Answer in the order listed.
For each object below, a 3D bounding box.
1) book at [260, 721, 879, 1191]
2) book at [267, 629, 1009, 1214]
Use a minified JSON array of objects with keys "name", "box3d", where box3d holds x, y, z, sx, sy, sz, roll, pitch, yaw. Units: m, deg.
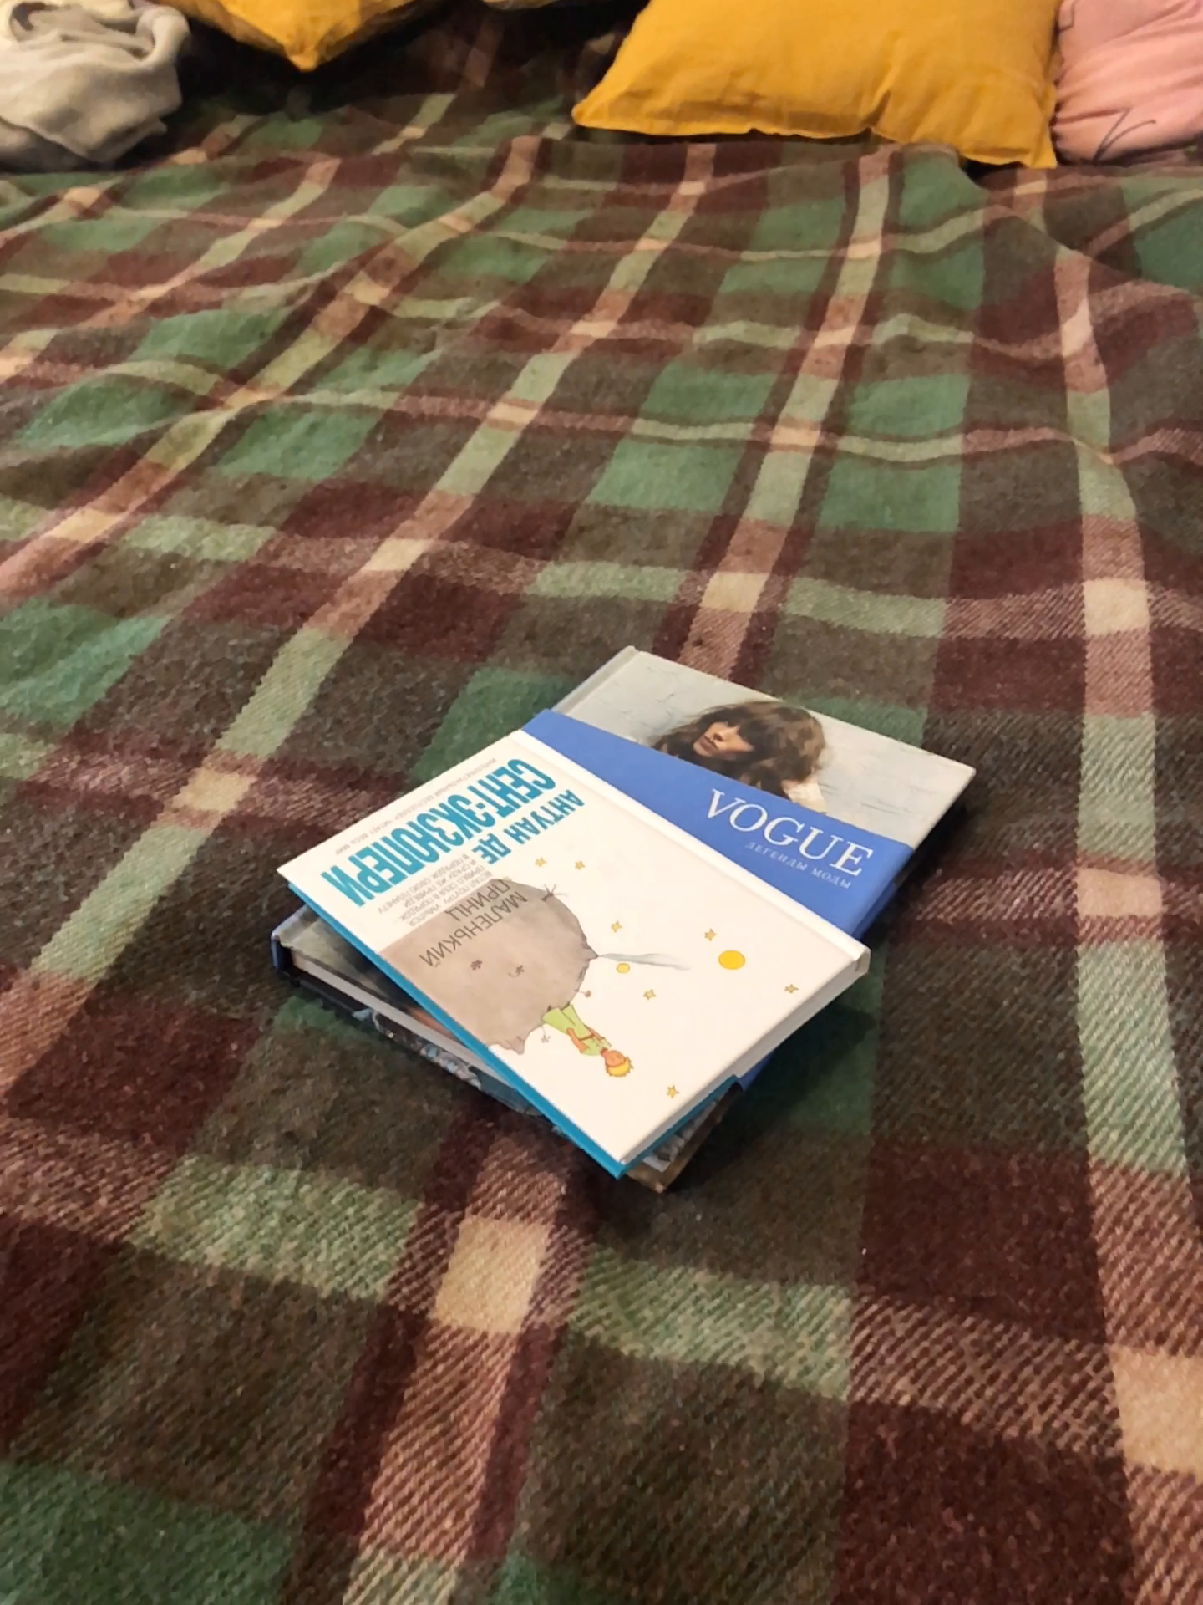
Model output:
[{"name":"book","box3d":[-0.014,0.037,0.442,0.120,0.014,0.170,-31,48,-33]},{"name":"book","box3d":[0.024,0.021,0.507,0.174,0.023,0.241,23,44,27]}]
